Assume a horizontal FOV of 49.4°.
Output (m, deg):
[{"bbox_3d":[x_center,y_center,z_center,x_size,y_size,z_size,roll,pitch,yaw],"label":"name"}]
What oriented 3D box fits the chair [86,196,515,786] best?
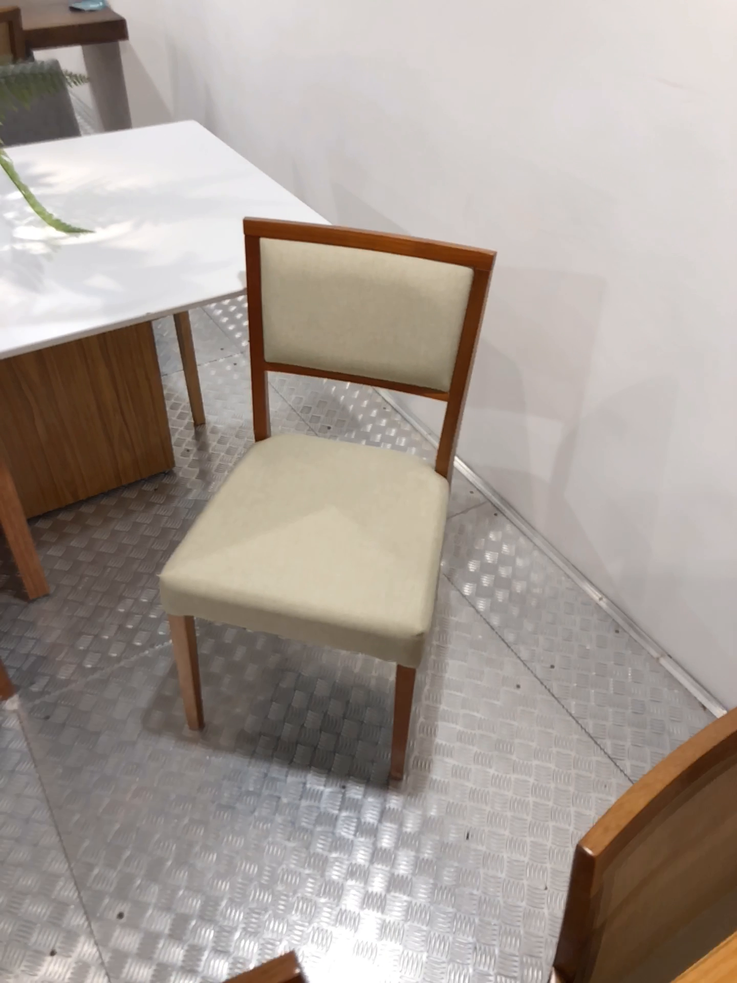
[{"bbox_3d":[-0.074,0.012,1.584,0.520,0.893,0.625,11,43,9],"label":"chair"}]
